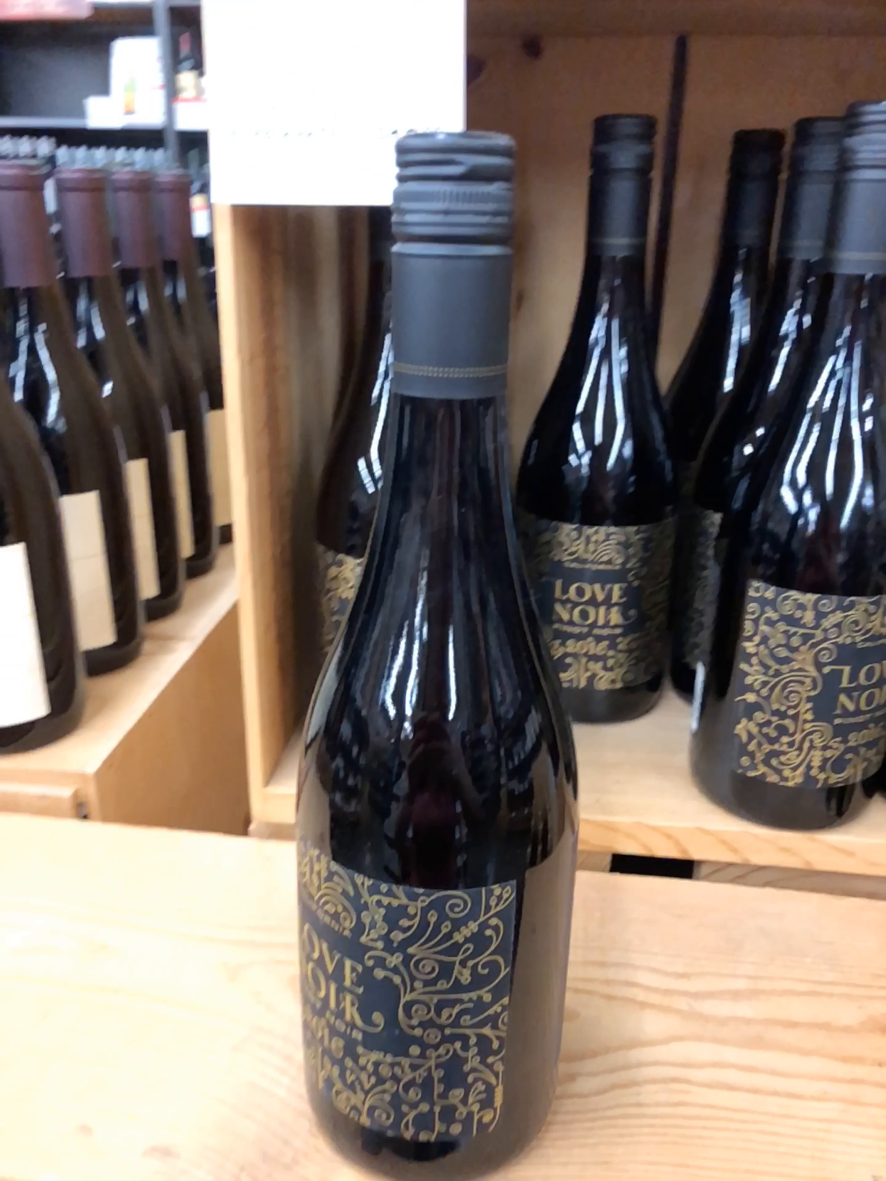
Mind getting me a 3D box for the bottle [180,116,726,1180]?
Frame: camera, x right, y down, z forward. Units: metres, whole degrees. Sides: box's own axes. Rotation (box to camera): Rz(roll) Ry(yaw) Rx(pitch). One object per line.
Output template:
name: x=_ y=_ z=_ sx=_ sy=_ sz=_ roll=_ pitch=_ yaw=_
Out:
bottle: x=-0.001 y=0.030 z=0.274 sx=0.085 sy=0.285 sz=0.090 roll=1 pitch=21 yaw=0
